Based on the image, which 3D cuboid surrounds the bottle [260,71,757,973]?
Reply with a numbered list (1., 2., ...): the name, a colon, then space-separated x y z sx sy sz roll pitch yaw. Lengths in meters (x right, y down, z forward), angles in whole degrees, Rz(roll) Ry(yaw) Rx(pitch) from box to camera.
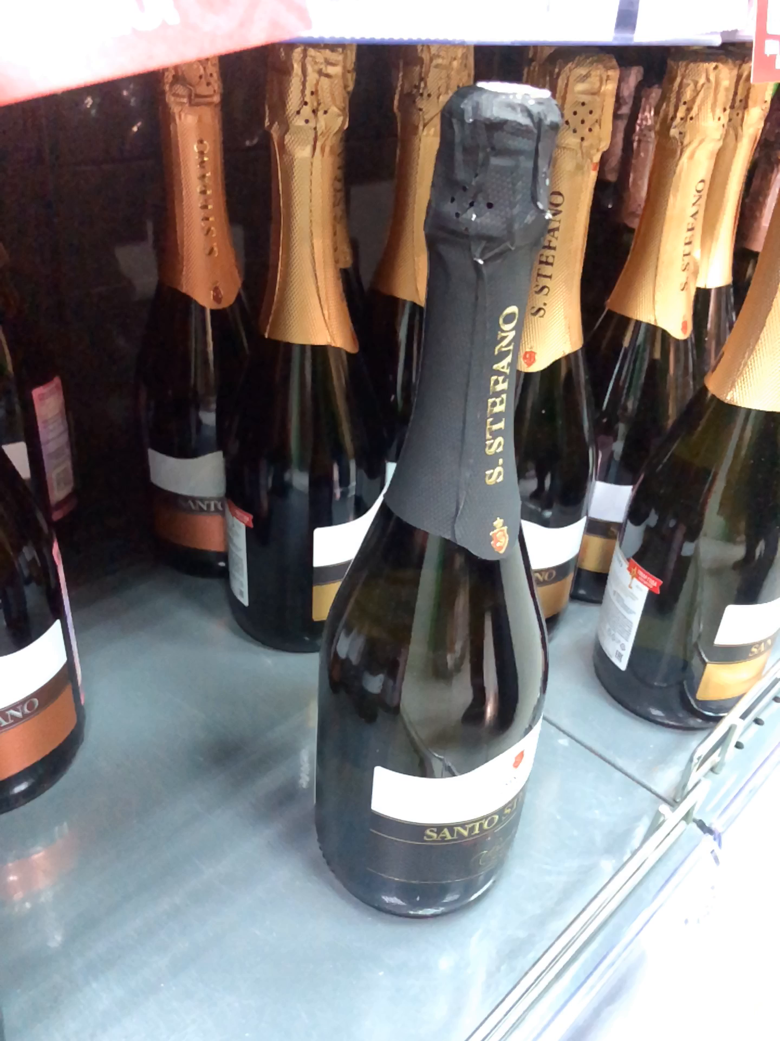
1. bottle: 0.025 0.009 0.303 0.090 0.288 0.100 28 39 34
